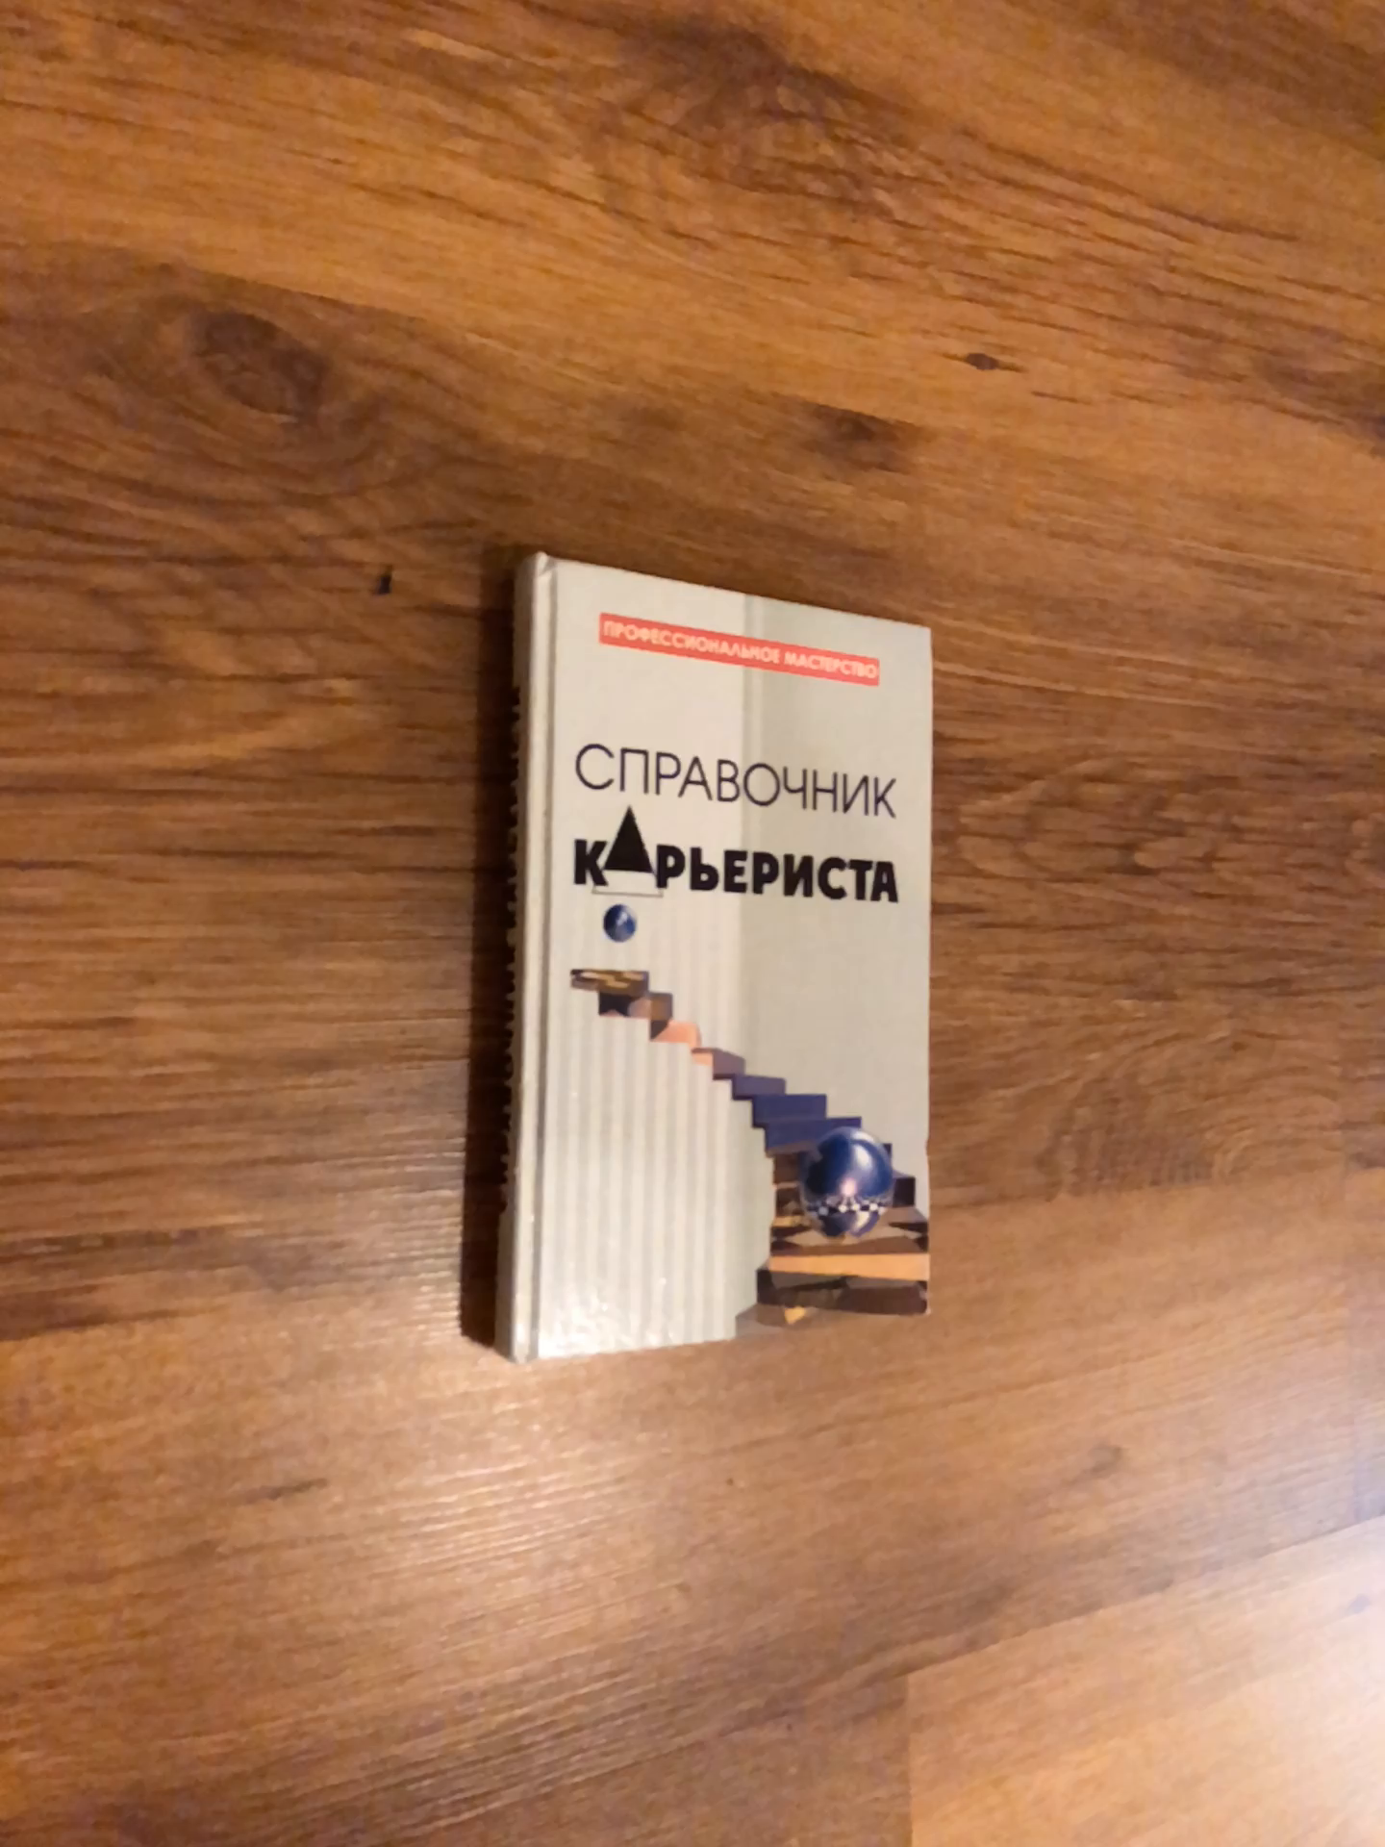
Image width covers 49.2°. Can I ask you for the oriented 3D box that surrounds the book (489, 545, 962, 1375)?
[{"bbox_3d":[0.014,0.010,0.418,0.136,0.026,0.204,3,86,-31],"label":"book"}]
